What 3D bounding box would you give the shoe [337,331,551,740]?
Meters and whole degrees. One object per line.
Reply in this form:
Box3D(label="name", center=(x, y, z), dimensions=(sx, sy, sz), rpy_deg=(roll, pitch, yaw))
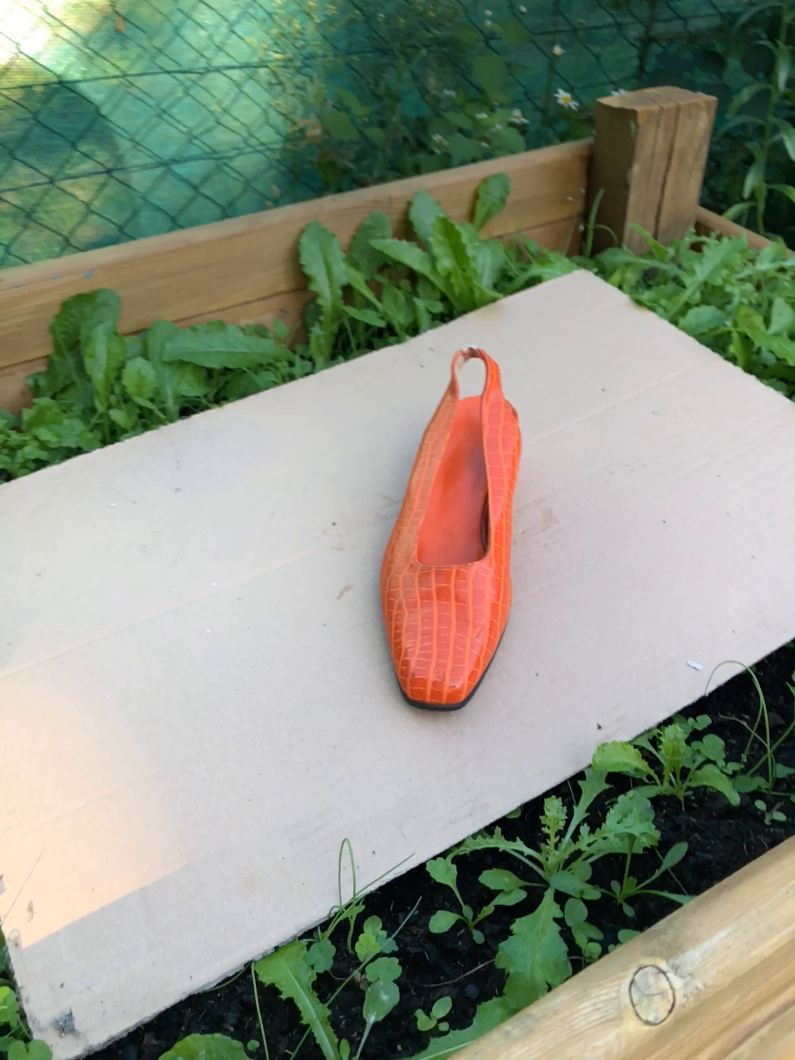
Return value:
Box3D(label="shoe", center=(0.038, -0.013, 0.543), dimensions=(0.090, 0.089, 0.262), rpy_deg=(7, 44, 8))
